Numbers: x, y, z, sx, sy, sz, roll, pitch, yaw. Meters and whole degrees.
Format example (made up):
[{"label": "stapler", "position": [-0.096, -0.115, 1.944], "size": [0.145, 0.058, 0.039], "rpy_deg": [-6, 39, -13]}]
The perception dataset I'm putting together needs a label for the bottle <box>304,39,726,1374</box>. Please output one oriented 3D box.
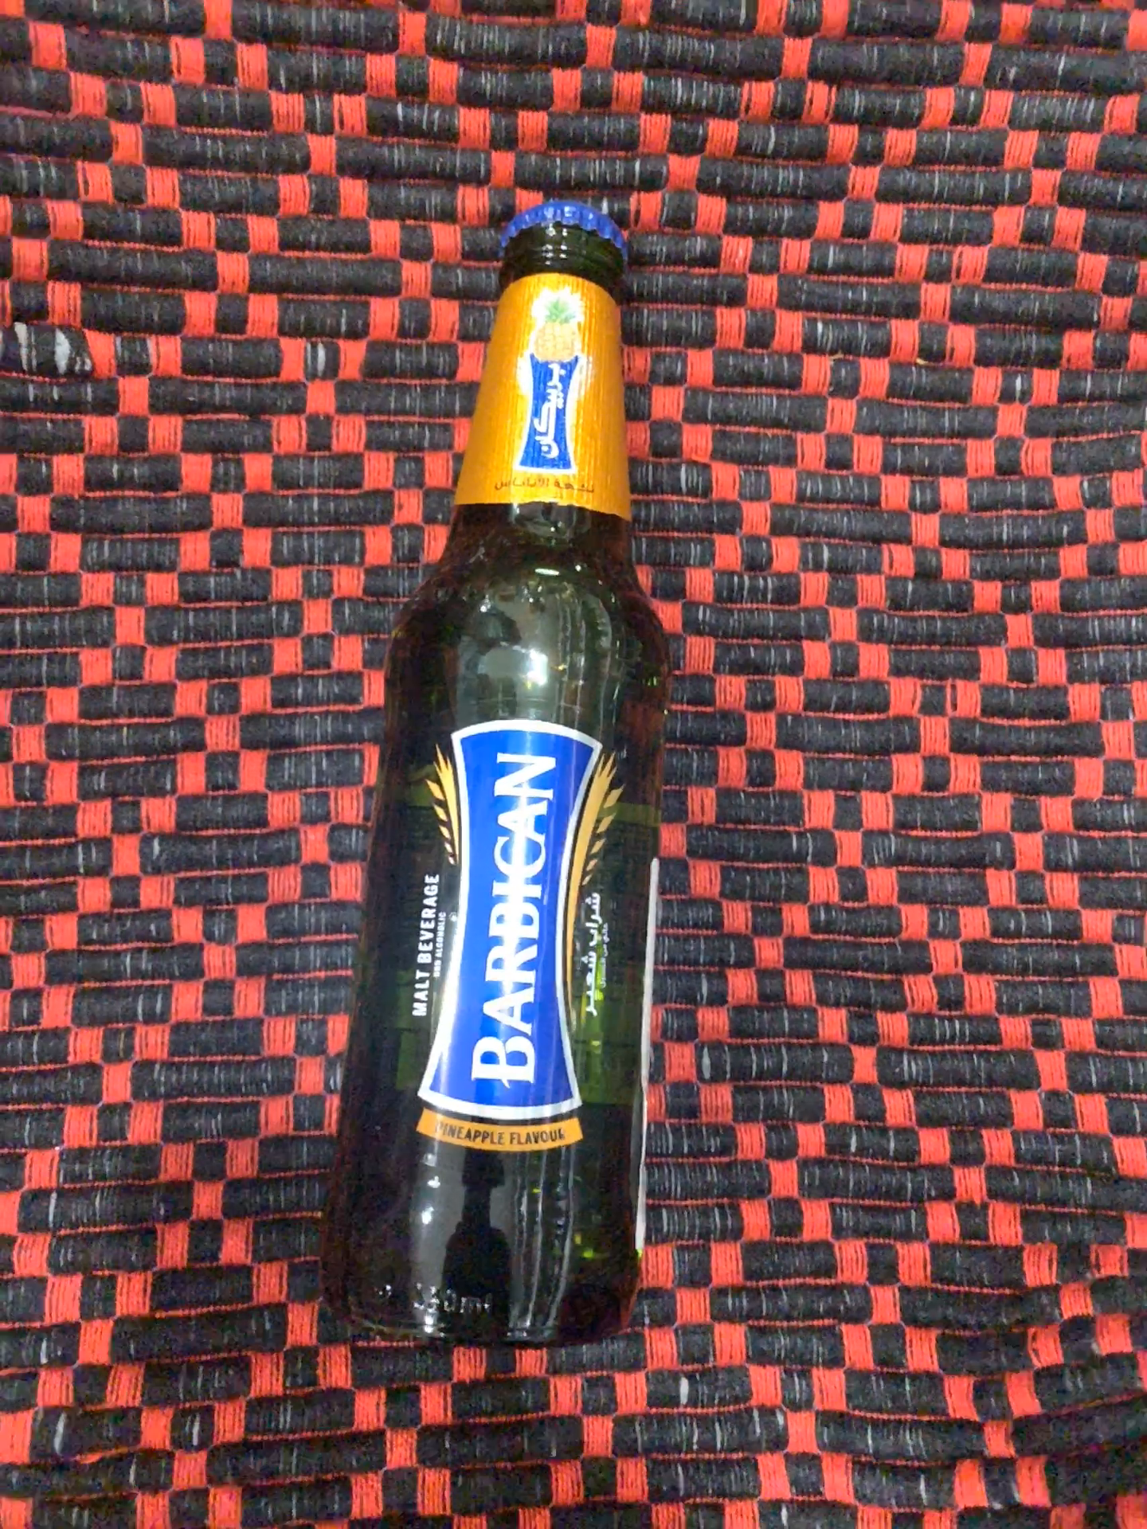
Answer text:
[{"label": "bottle", "position": [-0.007, -0.020, 0.246], "size": [0.060, 0.070, 0.250], "rpy_deg": [4, 73, -4]}]
